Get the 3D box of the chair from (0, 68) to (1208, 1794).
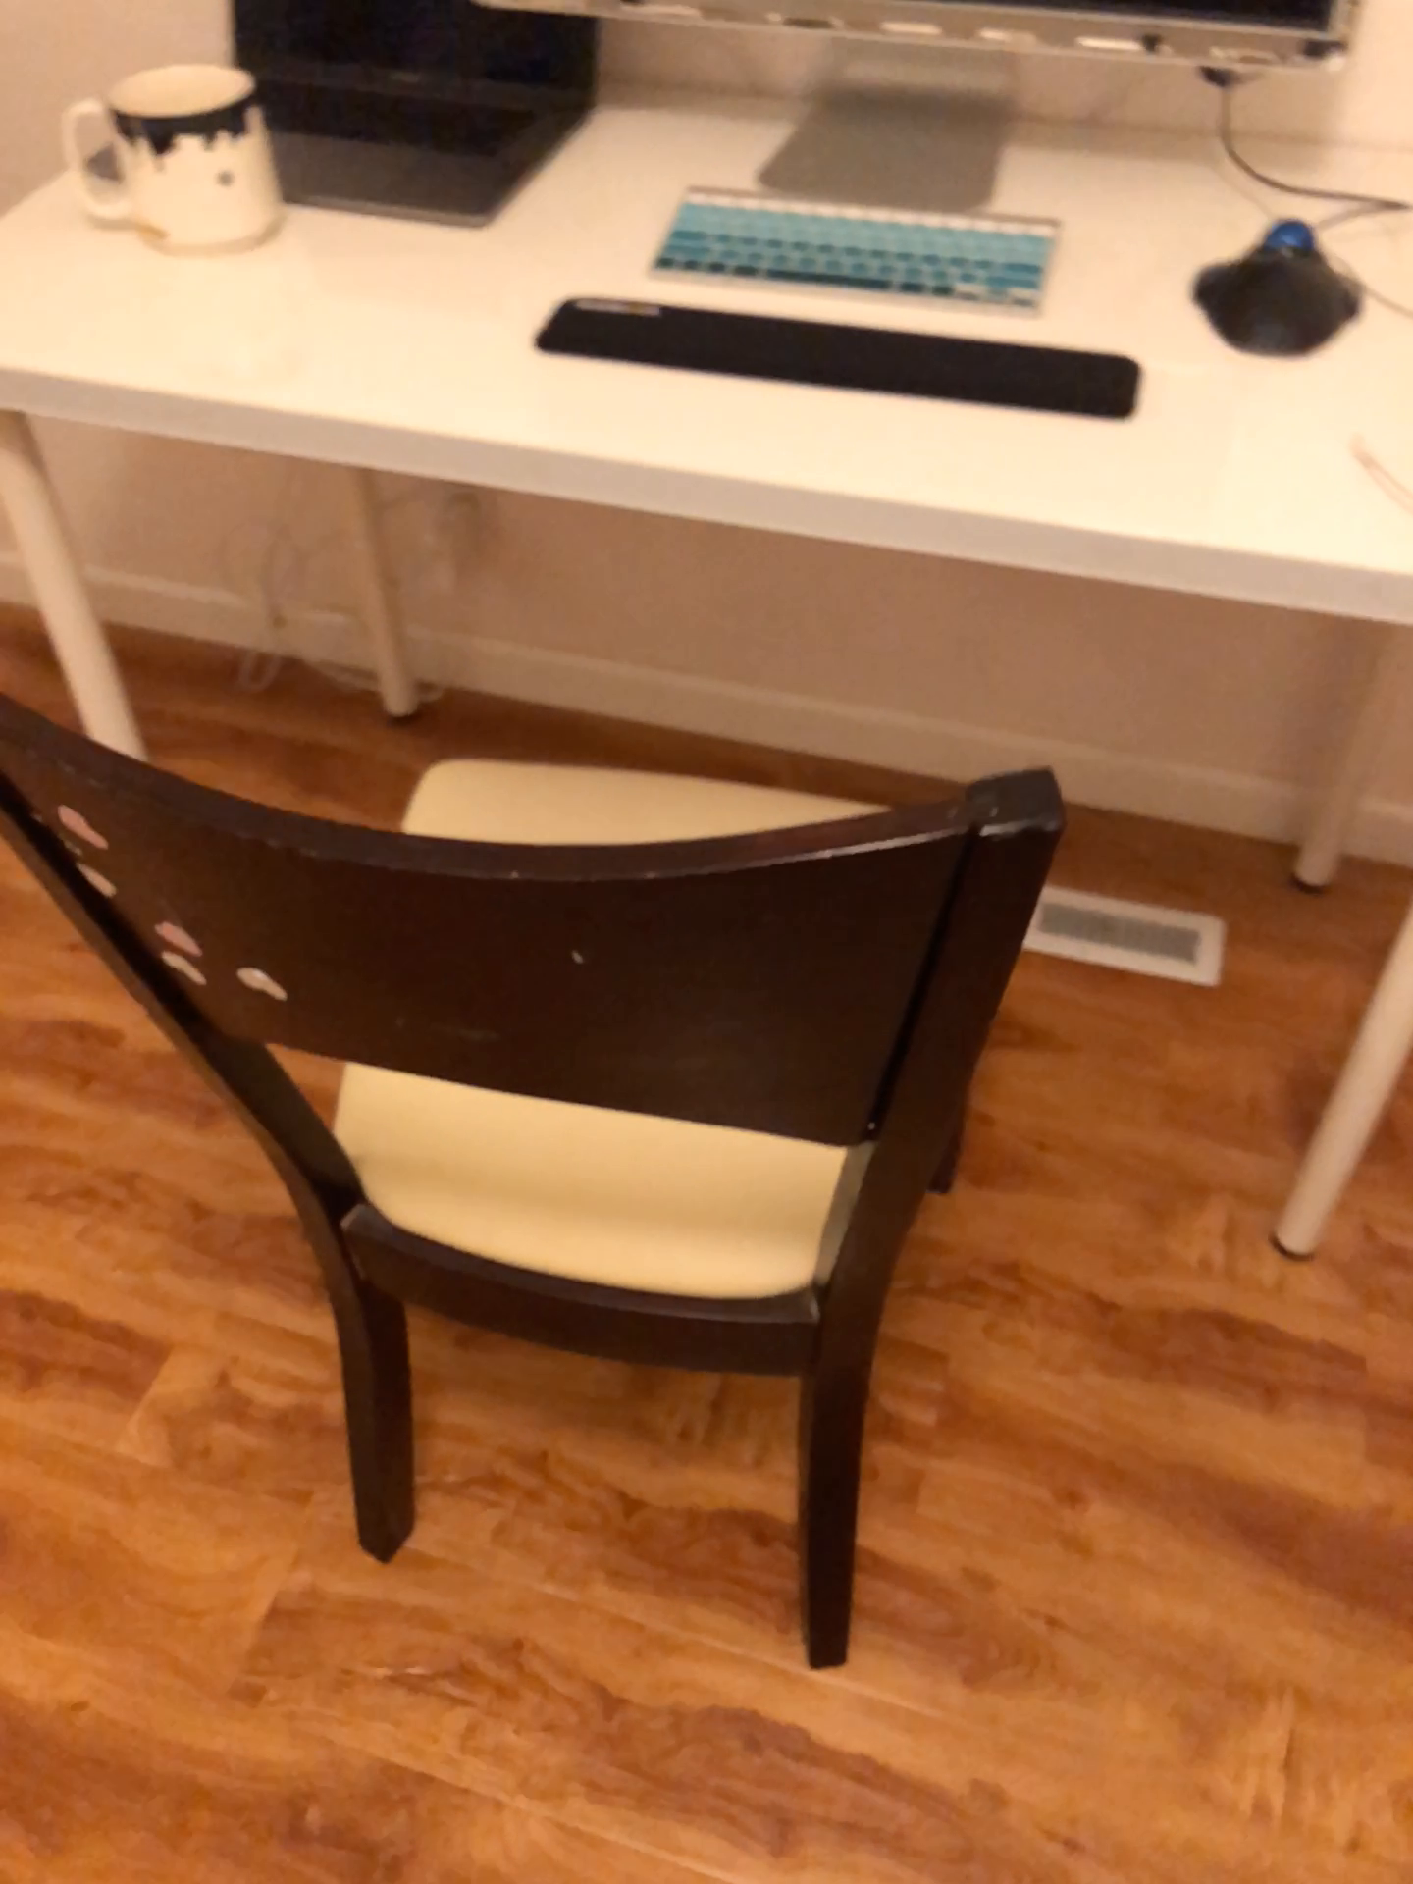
[{"bbox_3d":[-0.063,0.017,1.071,0.570,0.885,0.663,11,48,11],"label":"chair"}]
